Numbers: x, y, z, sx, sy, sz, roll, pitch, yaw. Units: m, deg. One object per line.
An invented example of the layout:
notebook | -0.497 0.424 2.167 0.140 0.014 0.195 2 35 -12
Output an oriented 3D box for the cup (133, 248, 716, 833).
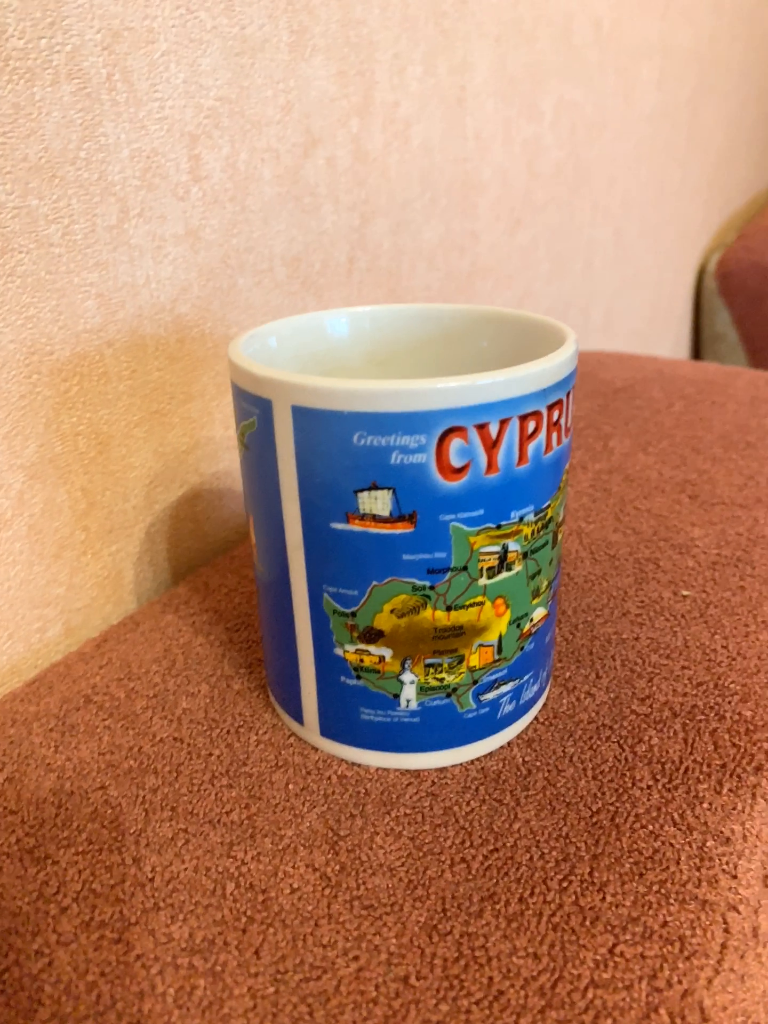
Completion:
cup | 0.017 -0.009 0.208 0.085 0.091 0.119 18 33 32
